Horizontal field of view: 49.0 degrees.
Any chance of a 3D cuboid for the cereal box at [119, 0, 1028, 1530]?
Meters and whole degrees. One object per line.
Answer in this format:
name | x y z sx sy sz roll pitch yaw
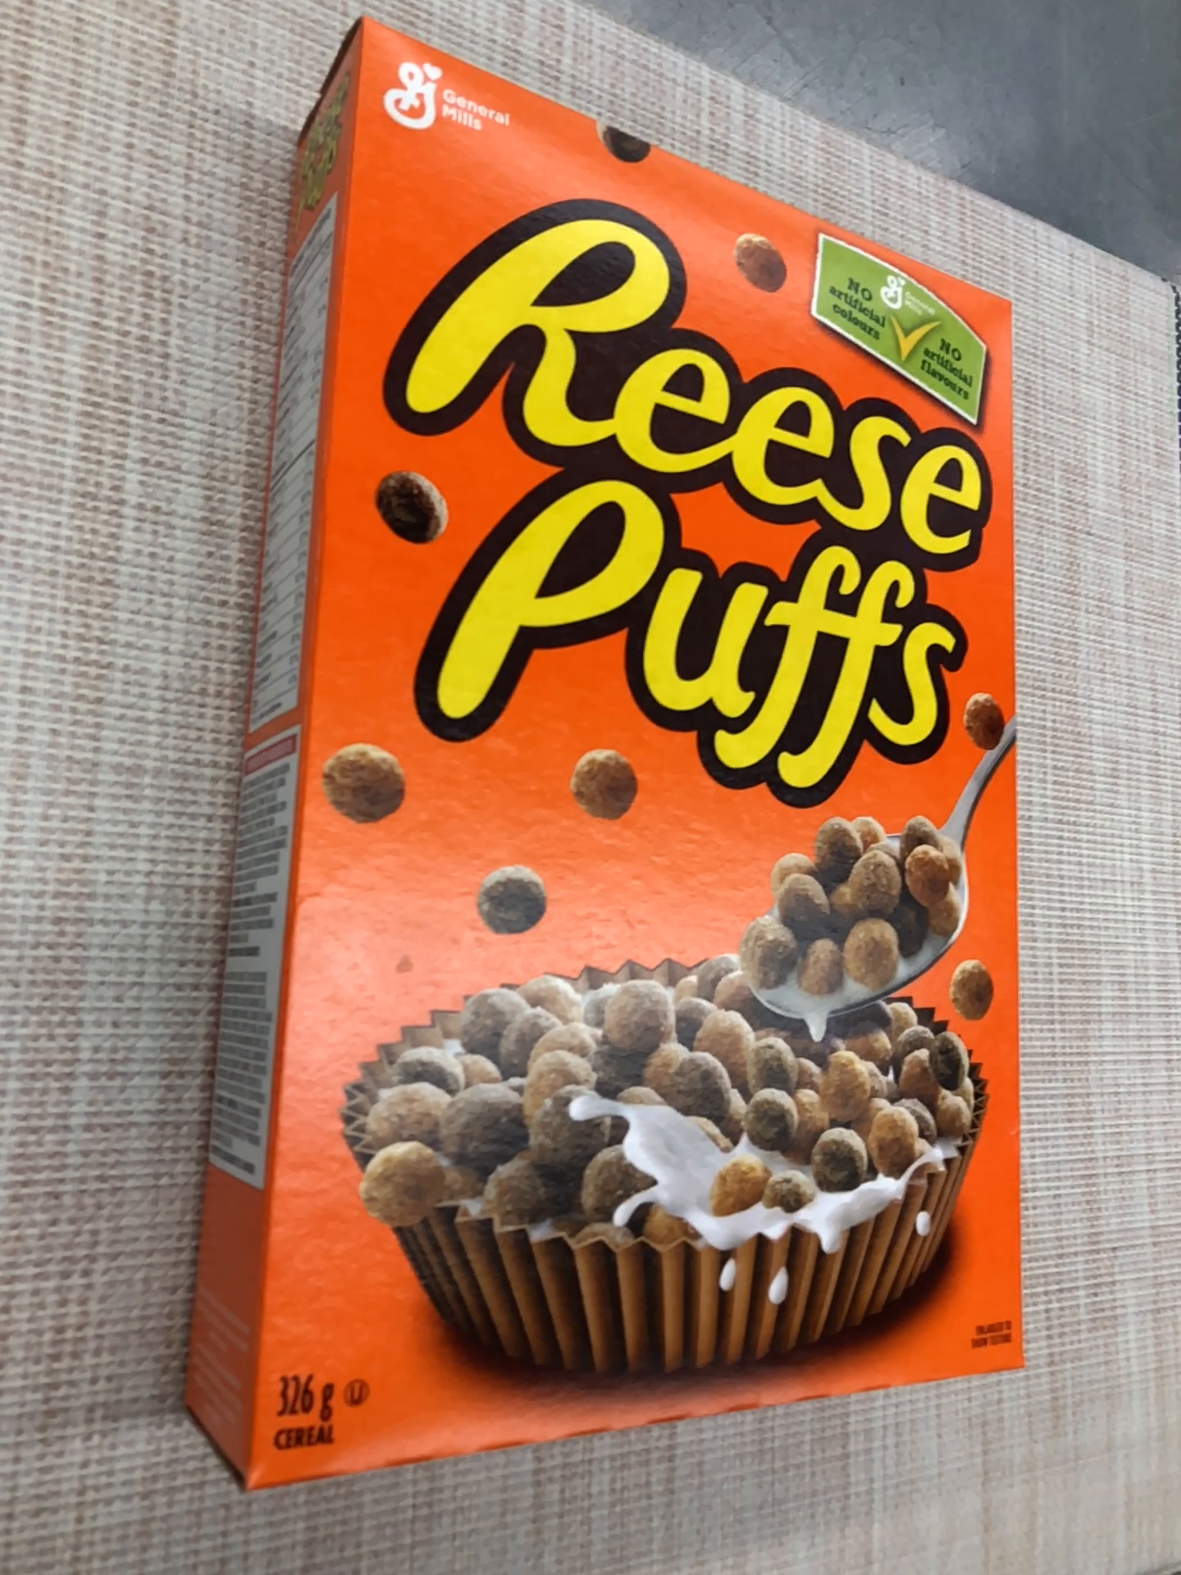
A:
cereal box | 0.014 -0.006 0.306 0.200 0.060 0.280 8 80 -33
